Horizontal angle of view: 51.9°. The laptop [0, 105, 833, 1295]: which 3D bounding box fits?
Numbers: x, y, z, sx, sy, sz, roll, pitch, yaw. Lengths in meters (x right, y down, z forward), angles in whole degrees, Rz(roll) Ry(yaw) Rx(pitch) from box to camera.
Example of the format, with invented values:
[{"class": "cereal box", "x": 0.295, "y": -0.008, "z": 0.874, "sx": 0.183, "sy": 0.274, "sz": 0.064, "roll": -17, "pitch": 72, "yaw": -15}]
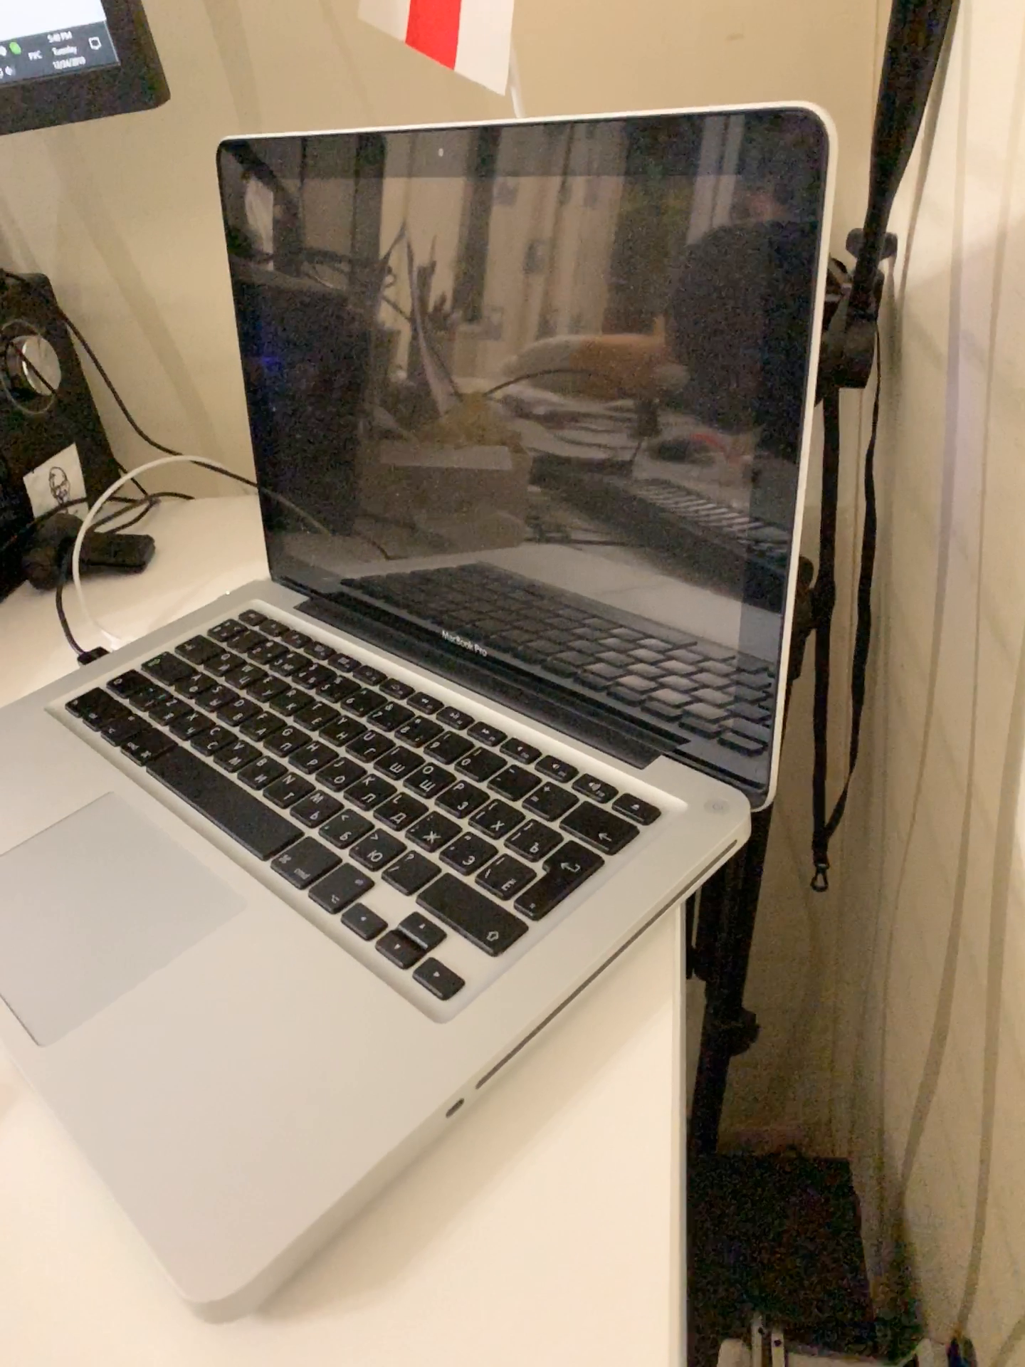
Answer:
[{"class": "laptop", "x": -0.096, "y": -0.049, "z": 0.354, "sx": 0.249, "sy": 0.196, "sz": 0.302, "roll": -34, "pitch": 39, "yaw": -32}]
